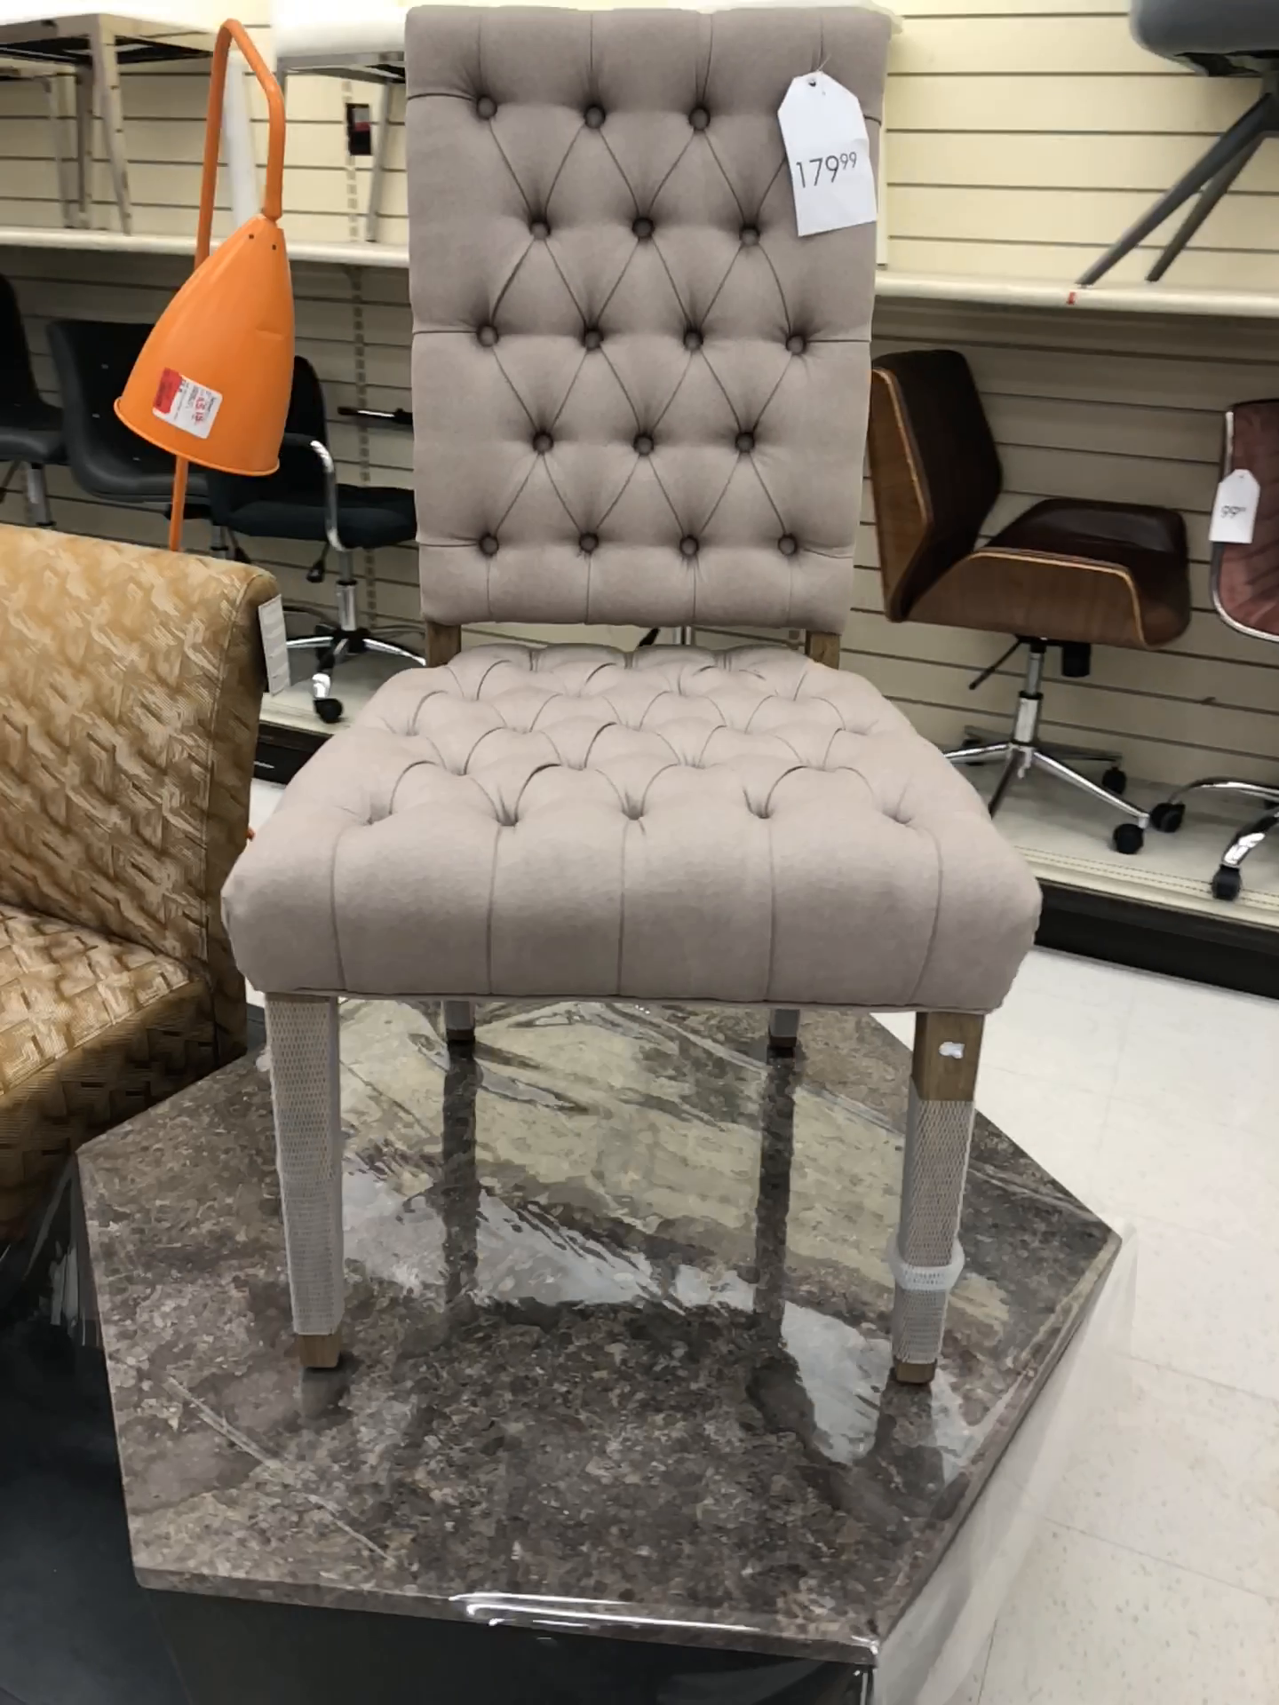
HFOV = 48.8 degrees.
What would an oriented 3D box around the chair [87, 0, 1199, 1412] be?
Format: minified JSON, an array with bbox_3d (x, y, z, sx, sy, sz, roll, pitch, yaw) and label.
[{"bbox_3d":[-0.015,-0.147,1.200,0.570,1.046,0.582,1,24,-1],"label":"chair"}]
